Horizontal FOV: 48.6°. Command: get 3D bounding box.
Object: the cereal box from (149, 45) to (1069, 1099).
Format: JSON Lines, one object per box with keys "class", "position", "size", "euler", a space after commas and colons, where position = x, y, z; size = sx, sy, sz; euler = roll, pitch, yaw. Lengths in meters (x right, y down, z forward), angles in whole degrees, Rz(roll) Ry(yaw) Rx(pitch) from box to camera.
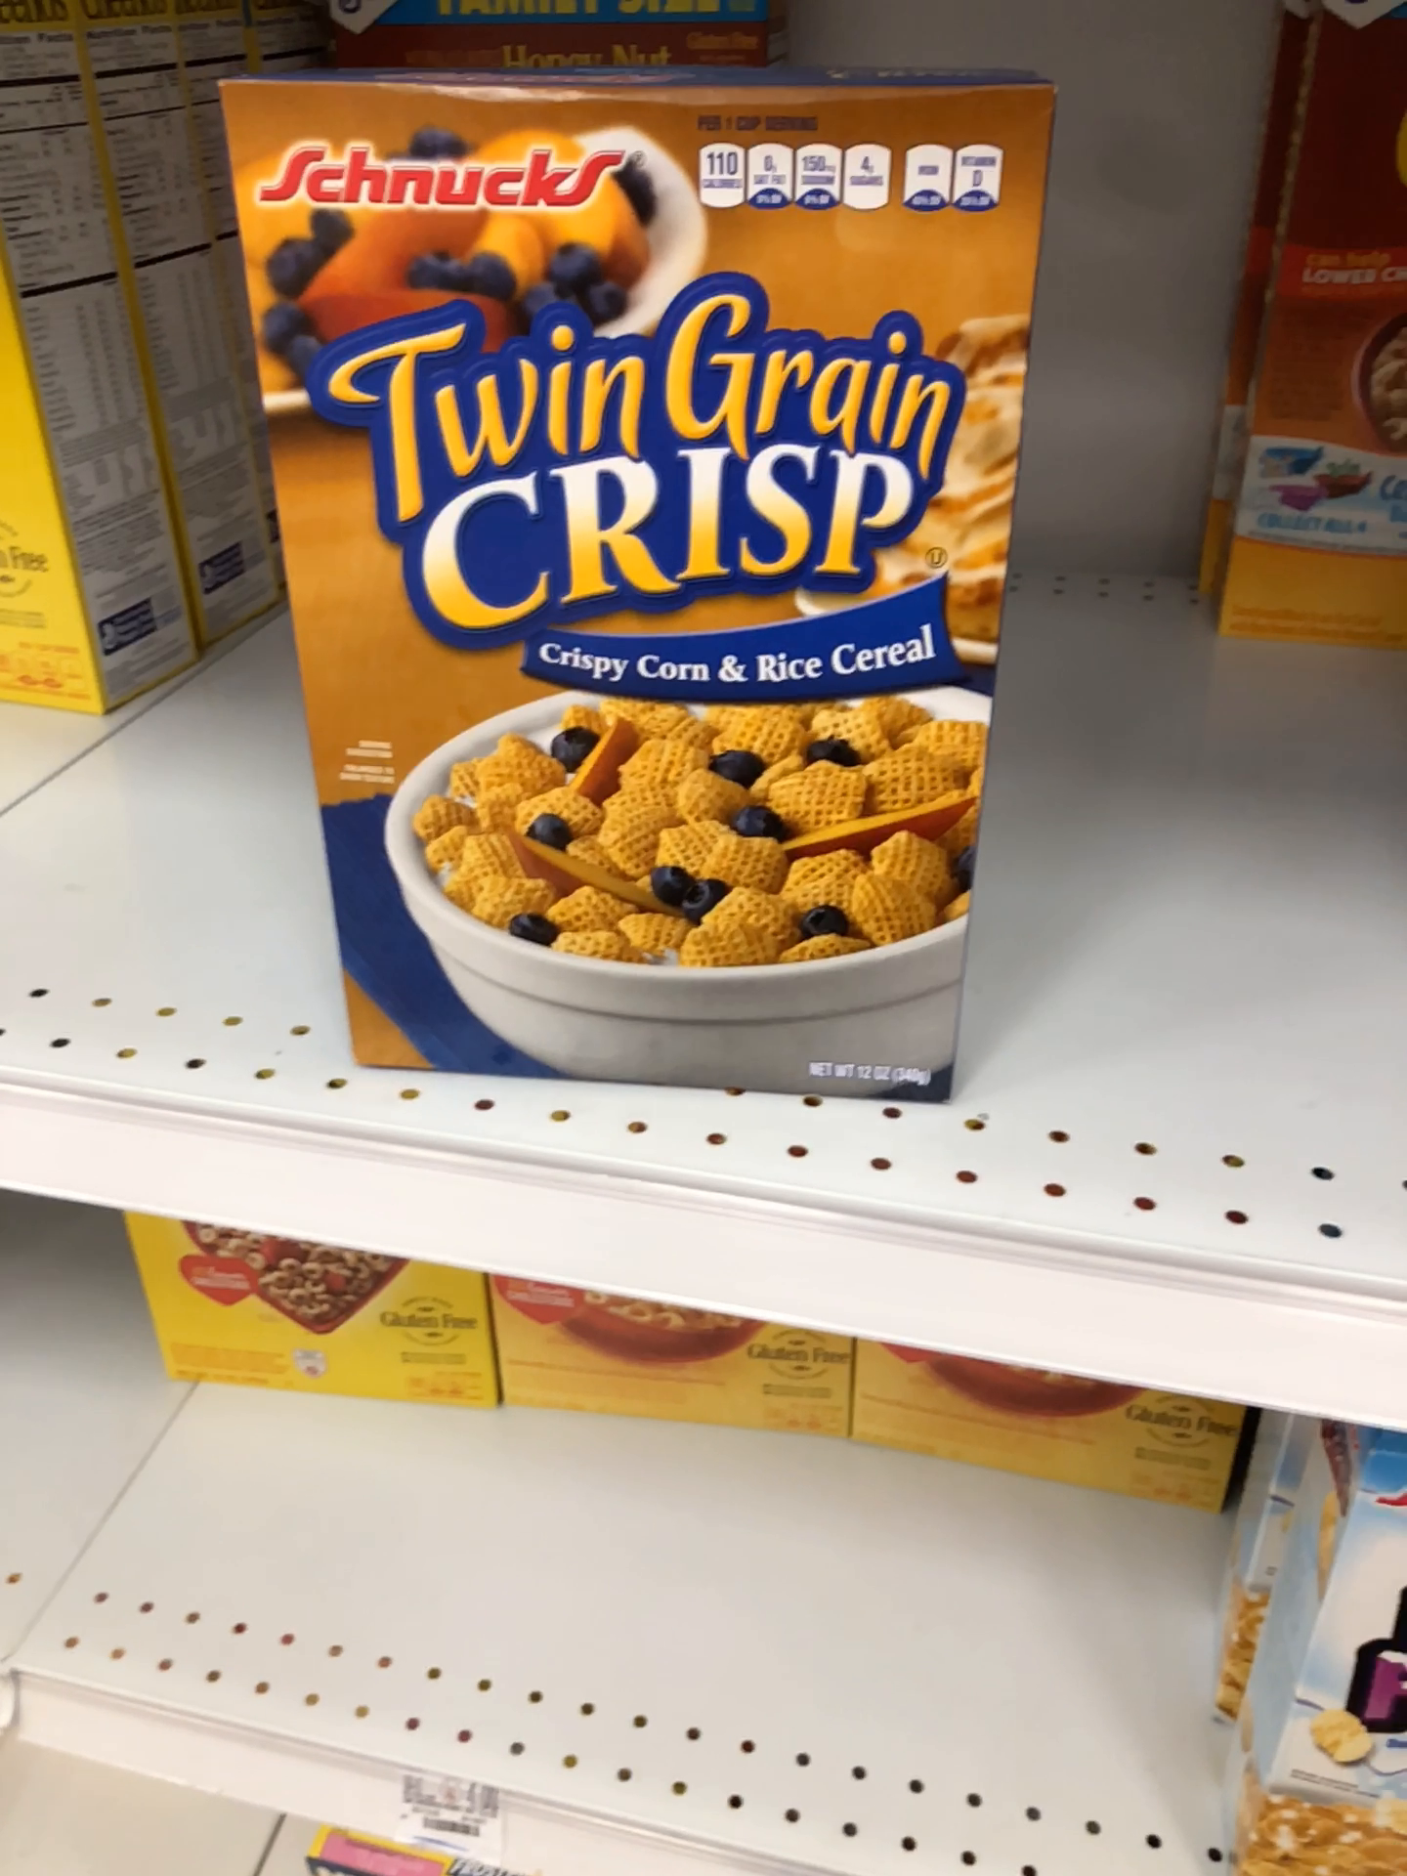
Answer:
{"class": "cereal box", "position": [-0.020, -0.095, 0.459], "size": [0.210, 0.289, 0.070], "euler": [3, 32, 4]}
